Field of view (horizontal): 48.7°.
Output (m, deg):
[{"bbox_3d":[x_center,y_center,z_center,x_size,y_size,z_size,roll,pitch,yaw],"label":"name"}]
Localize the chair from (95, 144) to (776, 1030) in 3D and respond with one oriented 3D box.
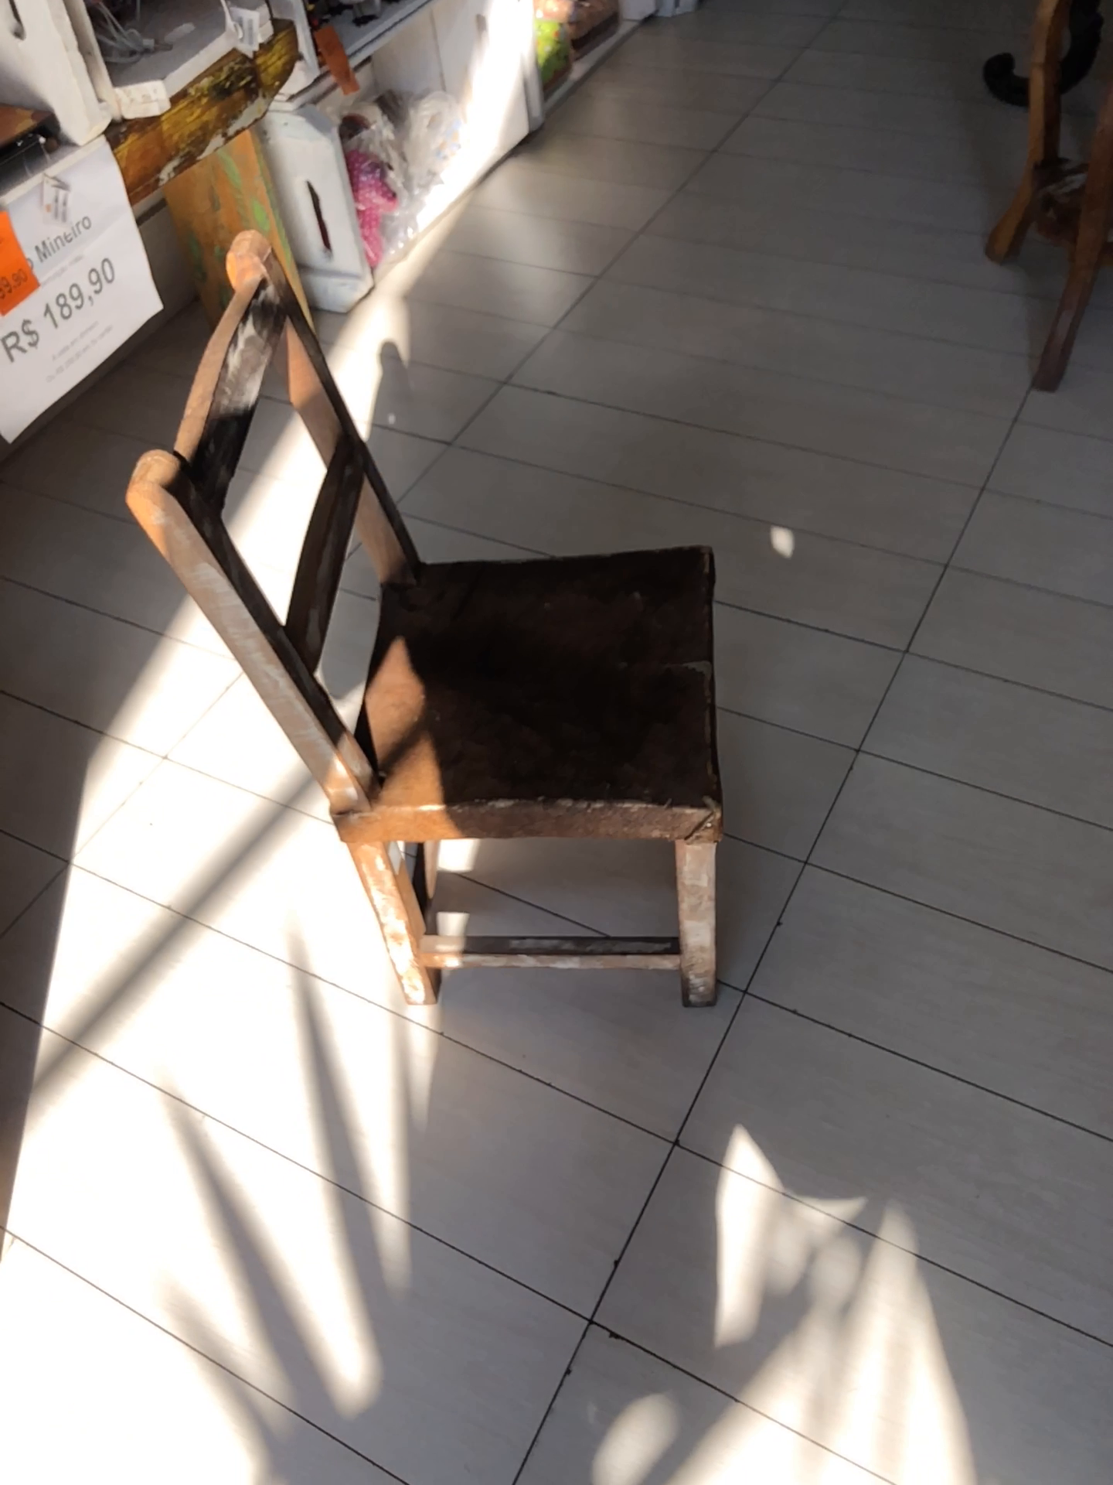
[{"bbox_3d":[-0.025,-0.065,0.924,0.340,0.596,0.302,-2,49,7],"label":"chair"}]
